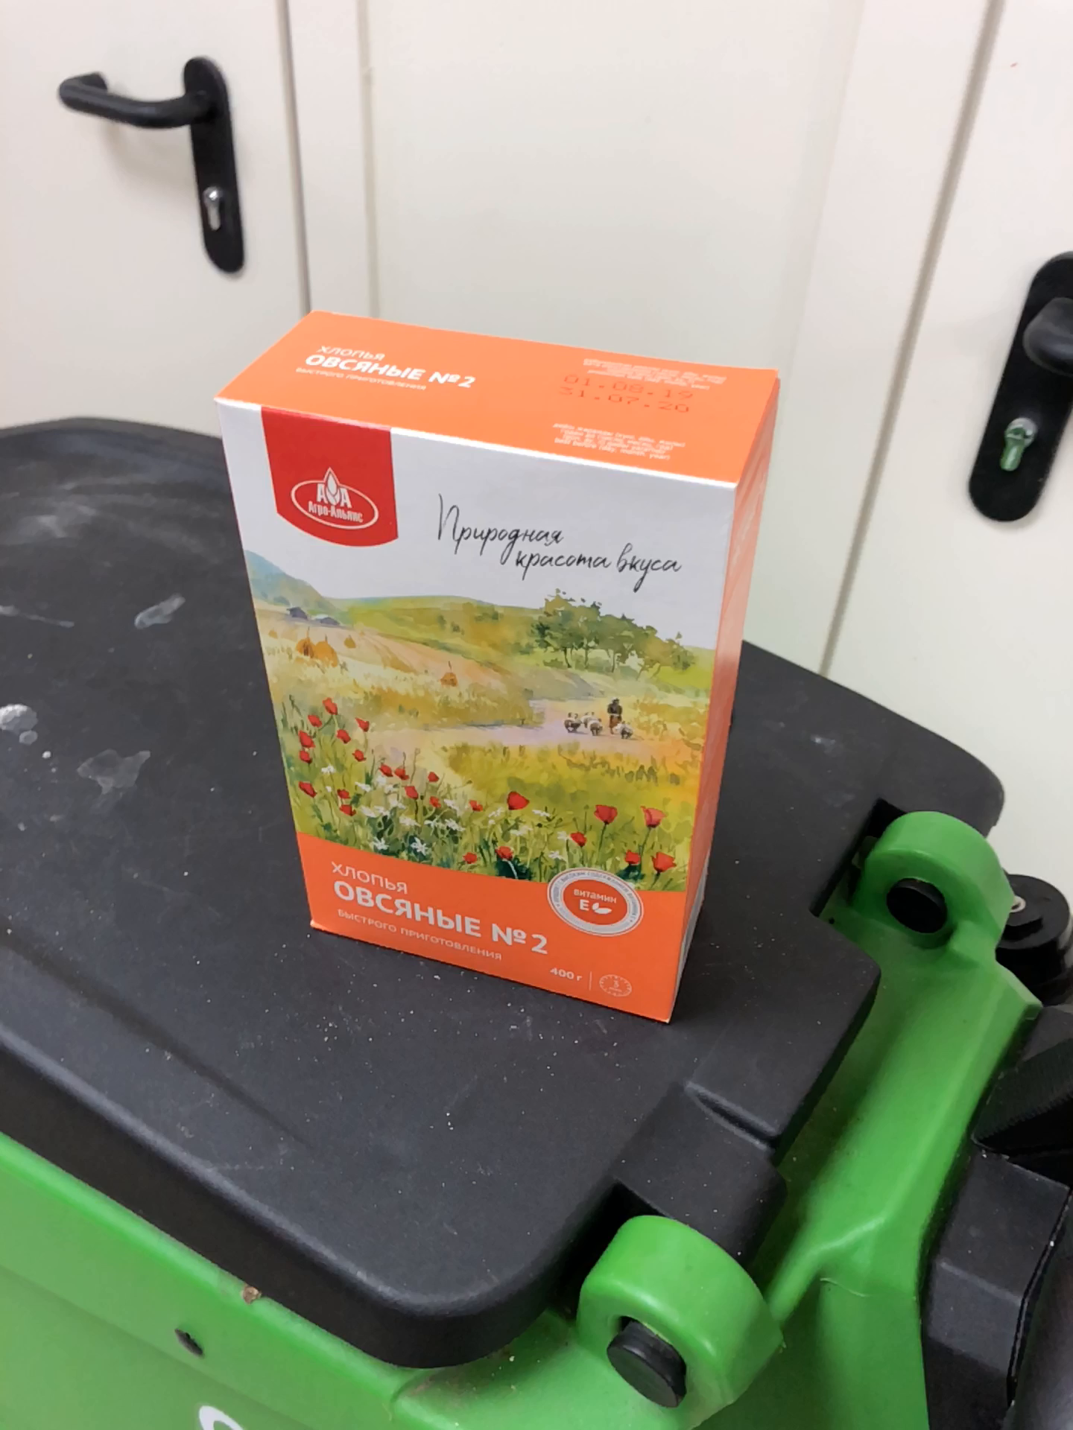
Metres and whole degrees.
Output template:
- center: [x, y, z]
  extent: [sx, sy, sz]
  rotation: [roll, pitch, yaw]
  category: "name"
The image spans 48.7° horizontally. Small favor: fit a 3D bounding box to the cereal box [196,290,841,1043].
- center: [-0.005, -0.006, 0.362]
  extent: [0.150, 0.209, 0.060]
  rotation: [12, 41, 12]
  category: "cereal box"
